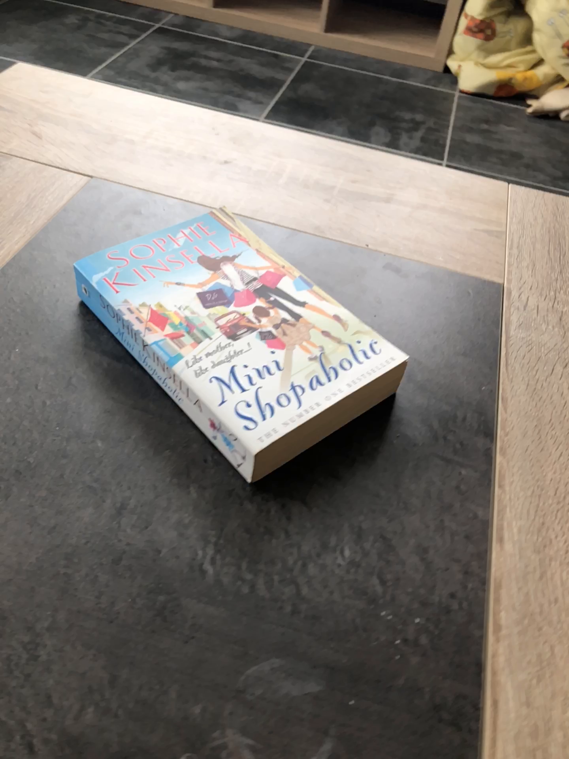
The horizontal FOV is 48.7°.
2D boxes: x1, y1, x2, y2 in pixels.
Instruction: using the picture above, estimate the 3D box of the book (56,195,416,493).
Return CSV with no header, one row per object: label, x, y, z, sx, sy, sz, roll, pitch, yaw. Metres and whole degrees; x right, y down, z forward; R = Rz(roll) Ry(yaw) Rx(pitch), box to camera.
book,-0.036,-0.039,0.408,0.132,0.036,0.200,-29,57,-29
